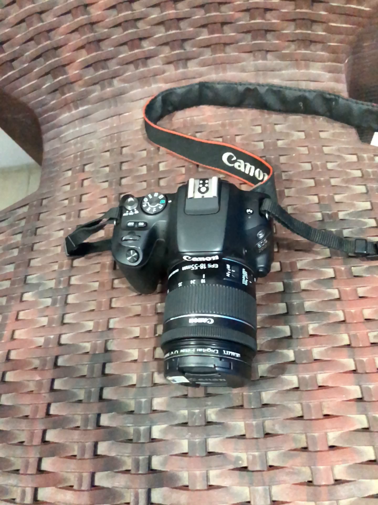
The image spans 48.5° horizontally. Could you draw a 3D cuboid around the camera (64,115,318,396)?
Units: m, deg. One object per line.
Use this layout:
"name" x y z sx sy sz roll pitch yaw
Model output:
"camera" 0.010 0.012 0.306 0.140 0.110 0.171 -2 70 11
